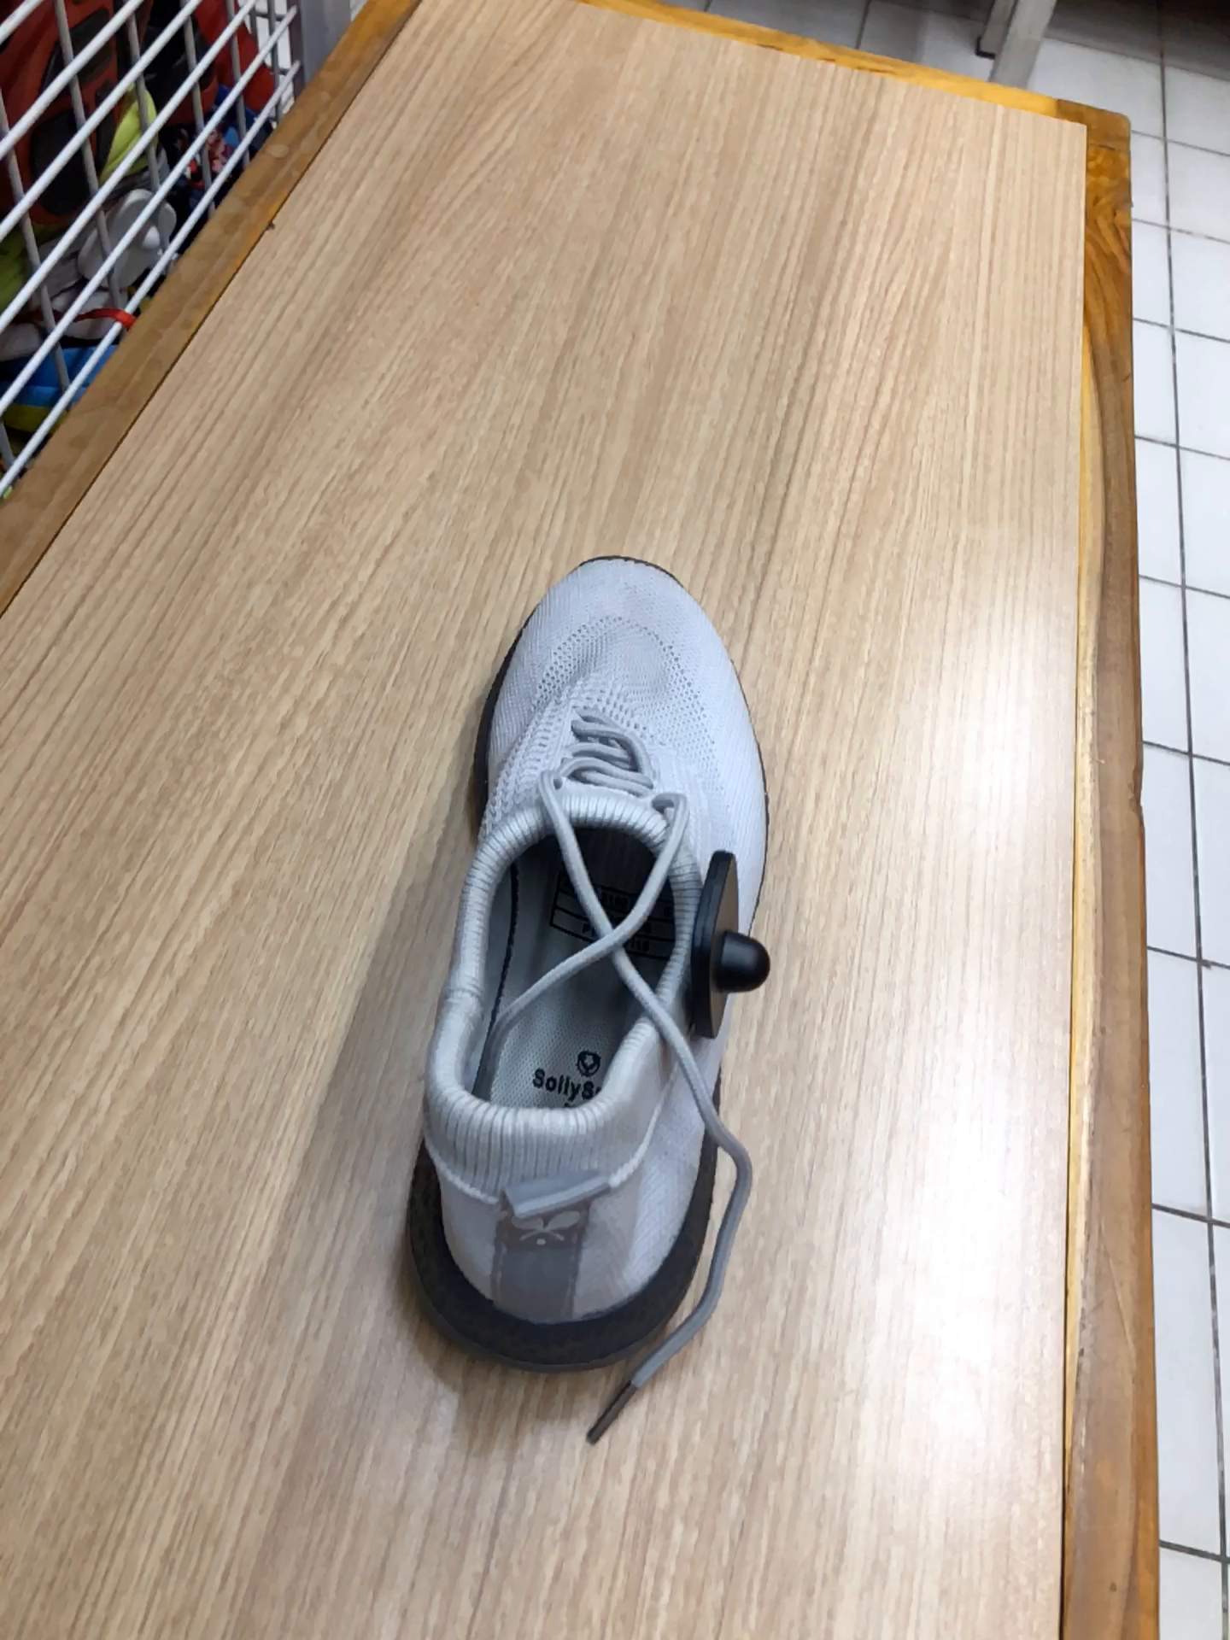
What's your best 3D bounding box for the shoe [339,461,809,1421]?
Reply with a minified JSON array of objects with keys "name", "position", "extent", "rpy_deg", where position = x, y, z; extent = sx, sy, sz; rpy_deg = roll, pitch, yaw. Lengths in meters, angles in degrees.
[{"name":"shoe","position":[-0.003,0.024,0.420],"extent":[0.100,0.099,0.271],"rpy_deg":[9,54,-2]}]
